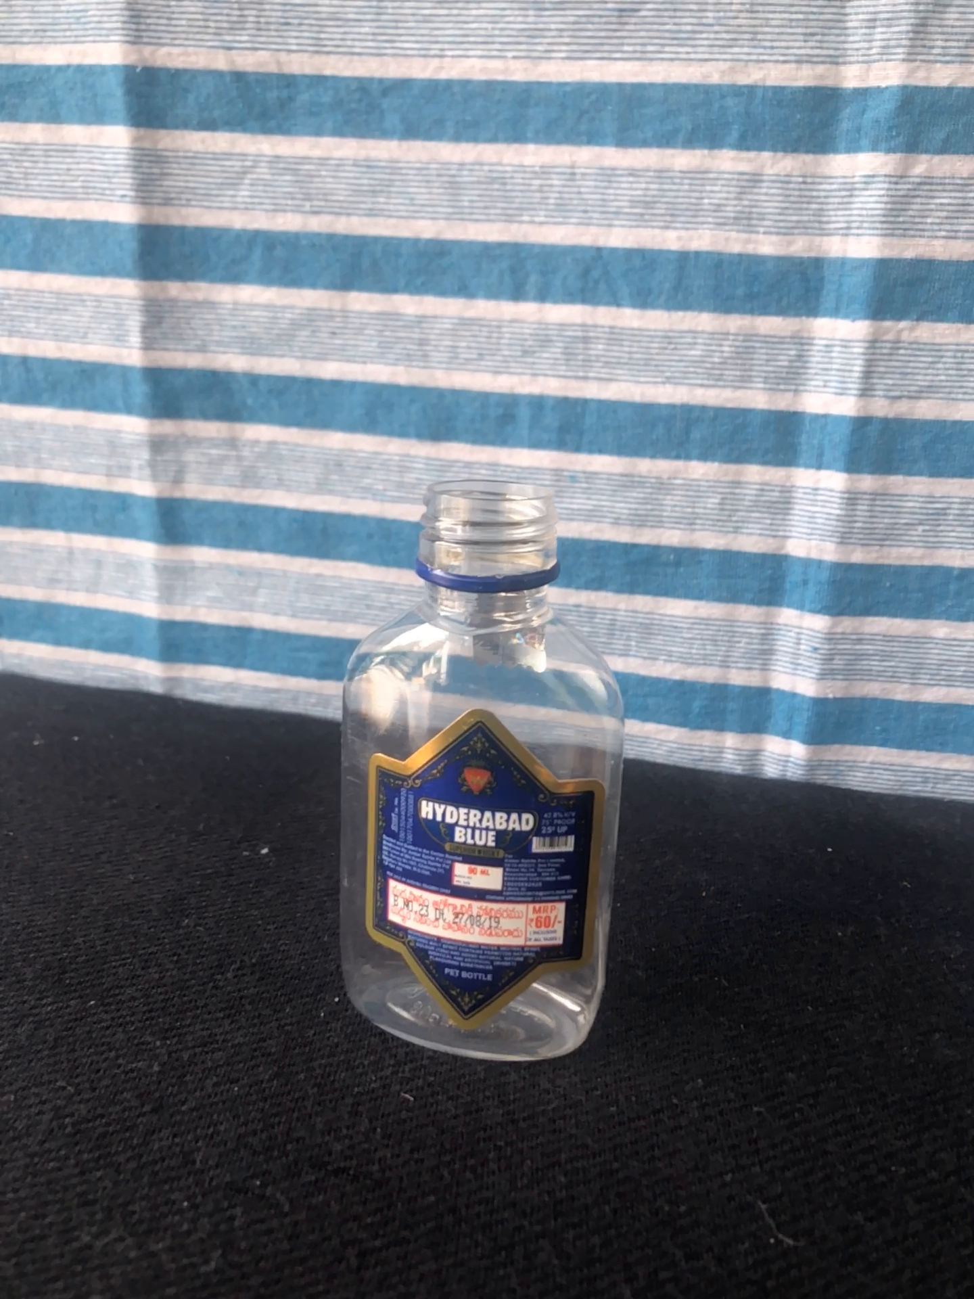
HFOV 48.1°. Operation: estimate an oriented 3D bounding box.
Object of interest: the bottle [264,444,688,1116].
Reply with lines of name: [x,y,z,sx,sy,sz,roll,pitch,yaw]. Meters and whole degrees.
bottle: [-0.002,0.020,0.196,0.060,0.100,0.050,8,21,10]
